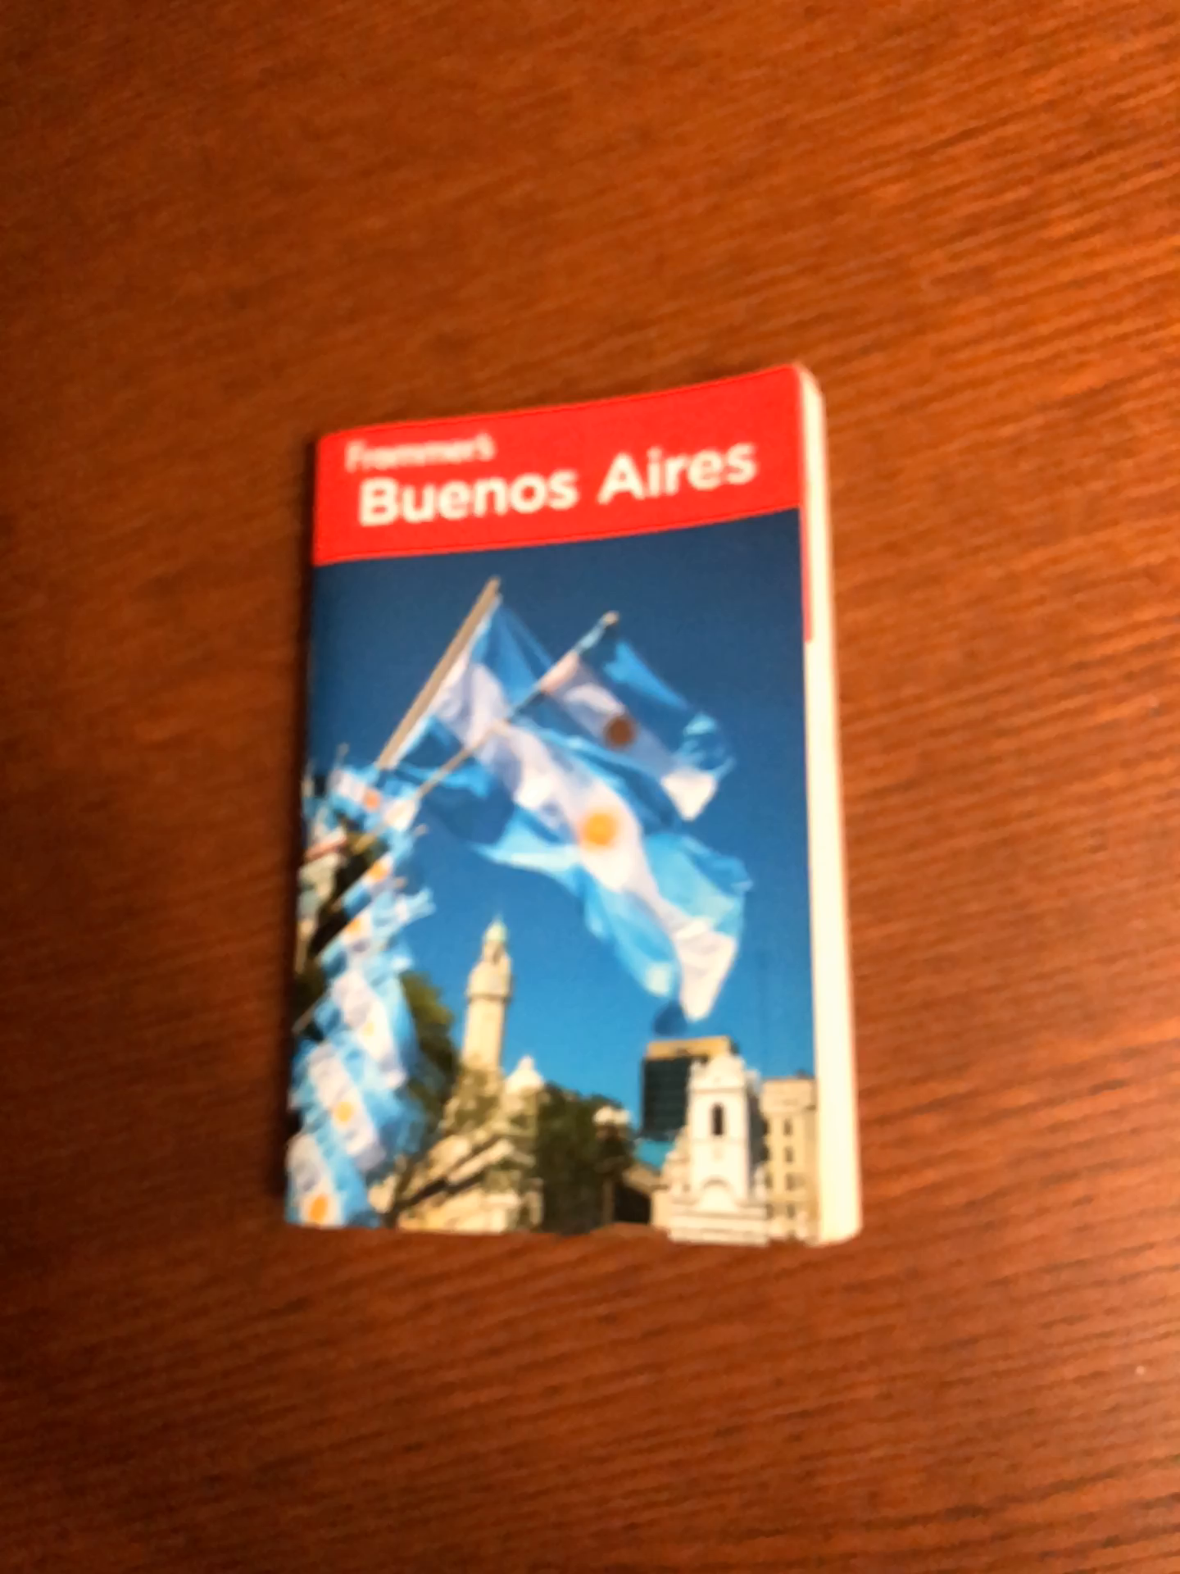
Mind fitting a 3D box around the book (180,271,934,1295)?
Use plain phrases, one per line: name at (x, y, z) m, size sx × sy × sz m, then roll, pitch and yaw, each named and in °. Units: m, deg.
book at (-0.013, -0.002, 0.307) m, size 0.160 × 0.020 × 0.220 m, roll -5°, pitch 76°, yaw 14°
